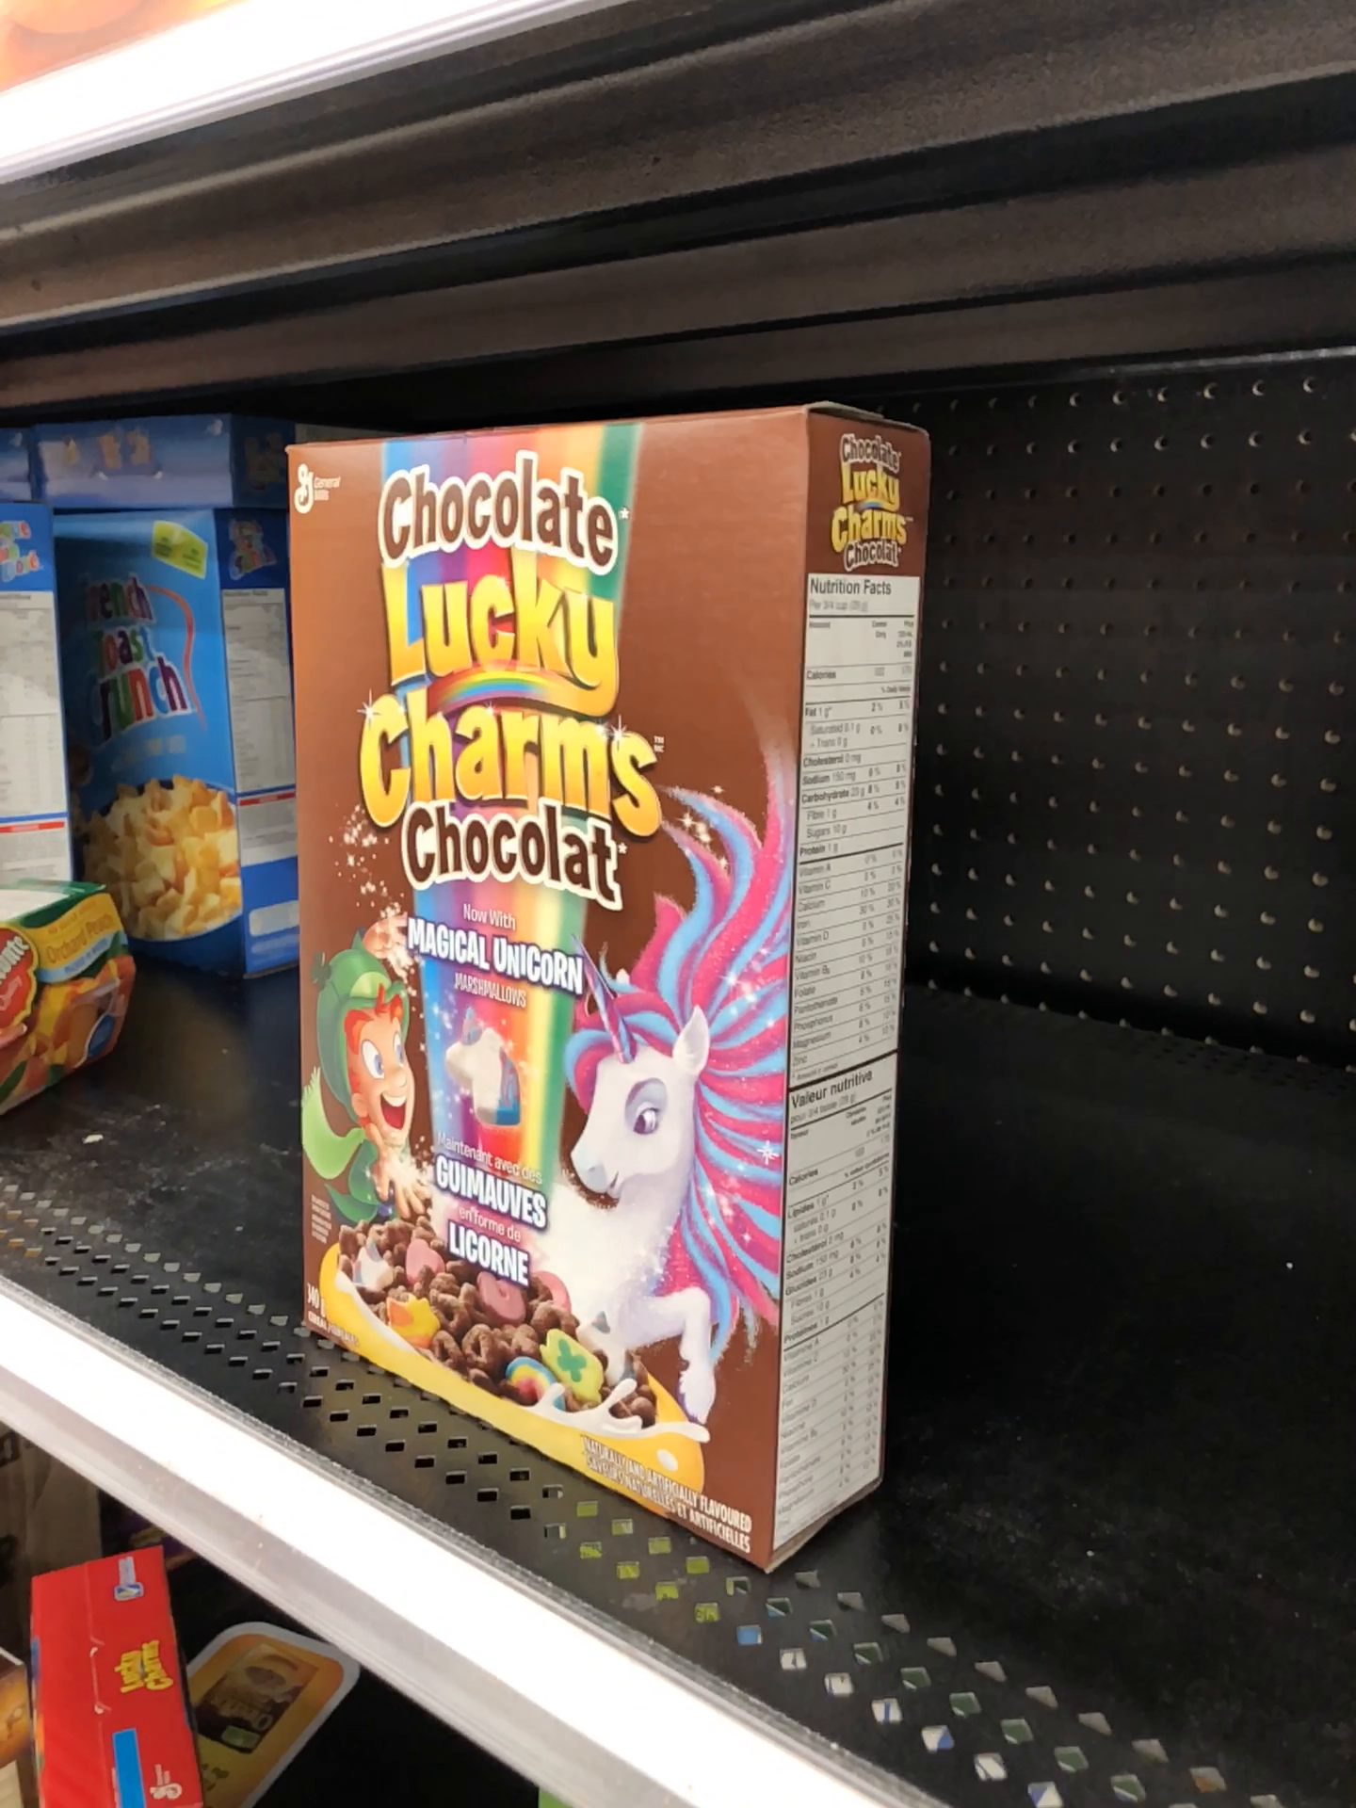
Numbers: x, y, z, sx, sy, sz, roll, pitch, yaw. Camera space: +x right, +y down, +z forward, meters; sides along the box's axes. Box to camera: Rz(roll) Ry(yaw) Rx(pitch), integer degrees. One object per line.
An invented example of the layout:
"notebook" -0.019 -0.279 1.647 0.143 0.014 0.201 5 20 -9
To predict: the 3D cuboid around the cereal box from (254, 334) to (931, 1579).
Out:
"cereal box" -0.035 0.005 0.422 0.200 0.289 0.050 10 14 40
